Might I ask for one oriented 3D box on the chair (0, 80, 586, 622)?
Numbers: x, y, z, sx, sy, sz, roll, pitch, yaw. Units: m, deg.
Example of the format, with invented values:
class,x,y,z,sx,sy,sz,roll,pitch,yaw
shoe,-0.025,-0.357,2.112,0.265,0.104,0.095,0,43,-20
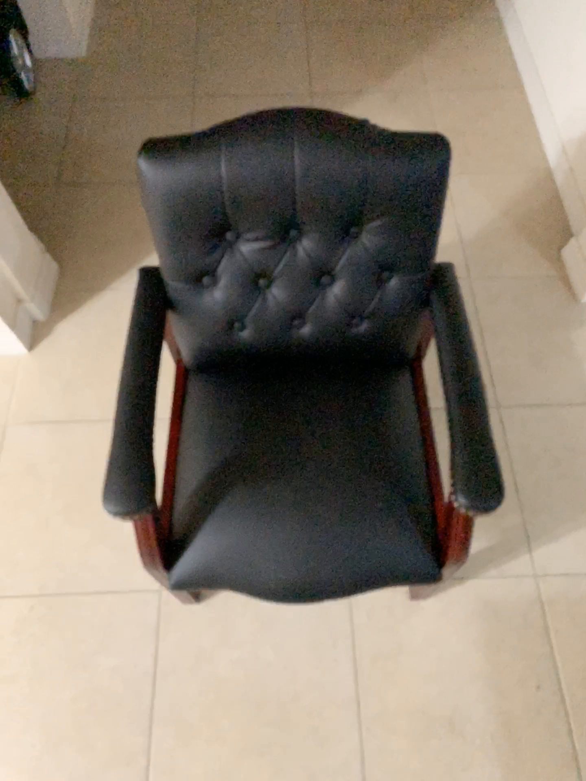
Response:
class,x,y,z,sx,sy,sz,roll,pitch,yaw
chair,0.003,0.036,1.151,0.631,0.911,0.658,-2,62,-1
